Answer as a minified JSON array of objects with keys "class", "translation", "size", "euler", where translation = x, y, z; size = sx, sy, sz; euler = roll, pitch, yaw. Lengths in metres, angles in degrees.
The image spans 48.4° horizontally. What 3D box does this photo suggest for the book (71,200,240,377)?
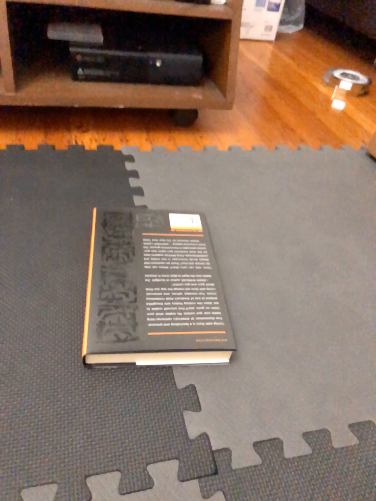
[{"class":"book","translation":[-0.045,0.032,0.532],"size":[0.170,0.040,0.261],"euler":[2,42,-9]}]
